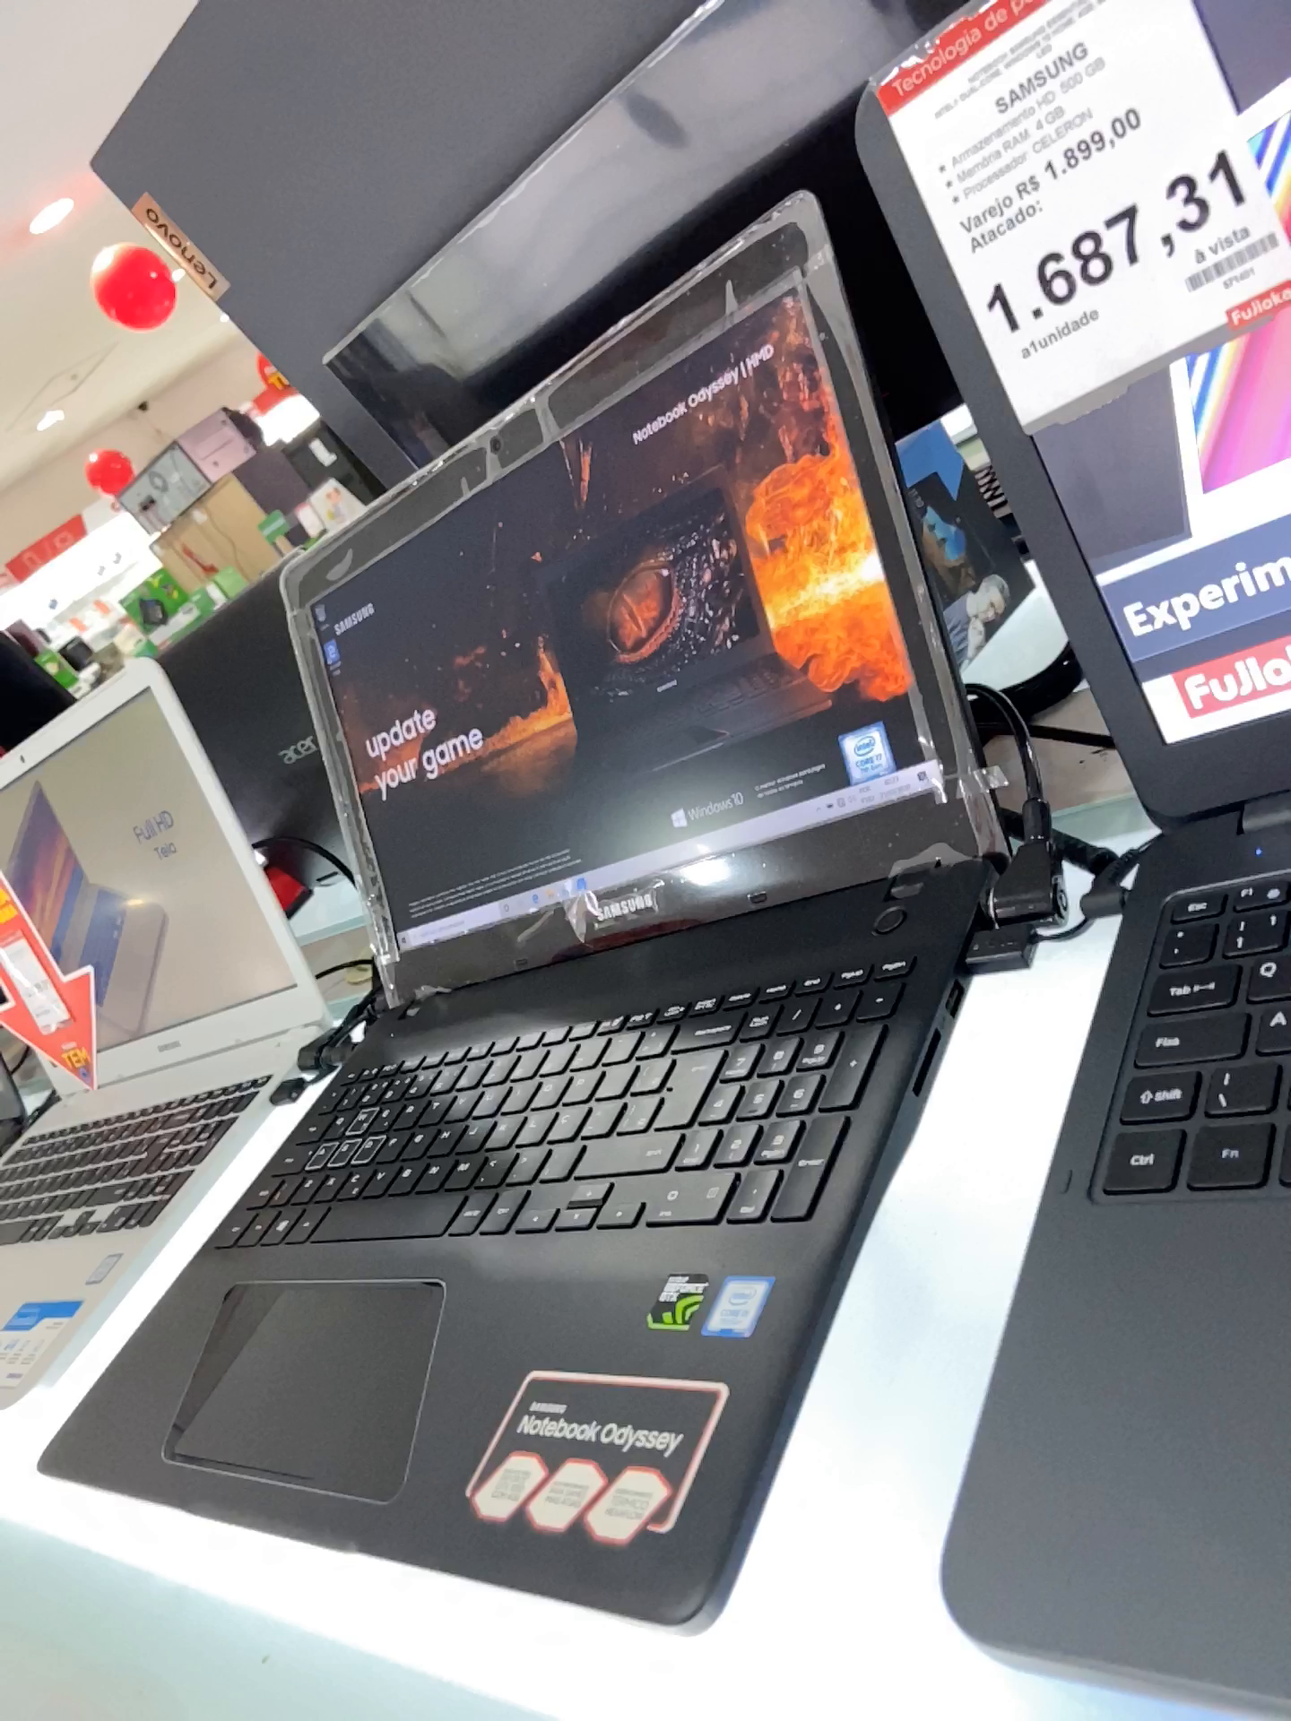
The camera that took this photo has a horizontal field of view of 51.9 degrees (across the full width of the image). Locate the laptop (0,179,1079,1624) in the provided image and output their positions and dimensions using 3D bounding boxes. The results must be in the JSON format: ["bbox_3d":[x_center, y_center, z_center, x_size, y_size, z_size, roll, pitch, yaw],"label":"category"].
[{"bbox_3d":[-0.097,0.003,0.500,0.374,0.202,0.392,-19,28,43],"label":"laptop"}]
